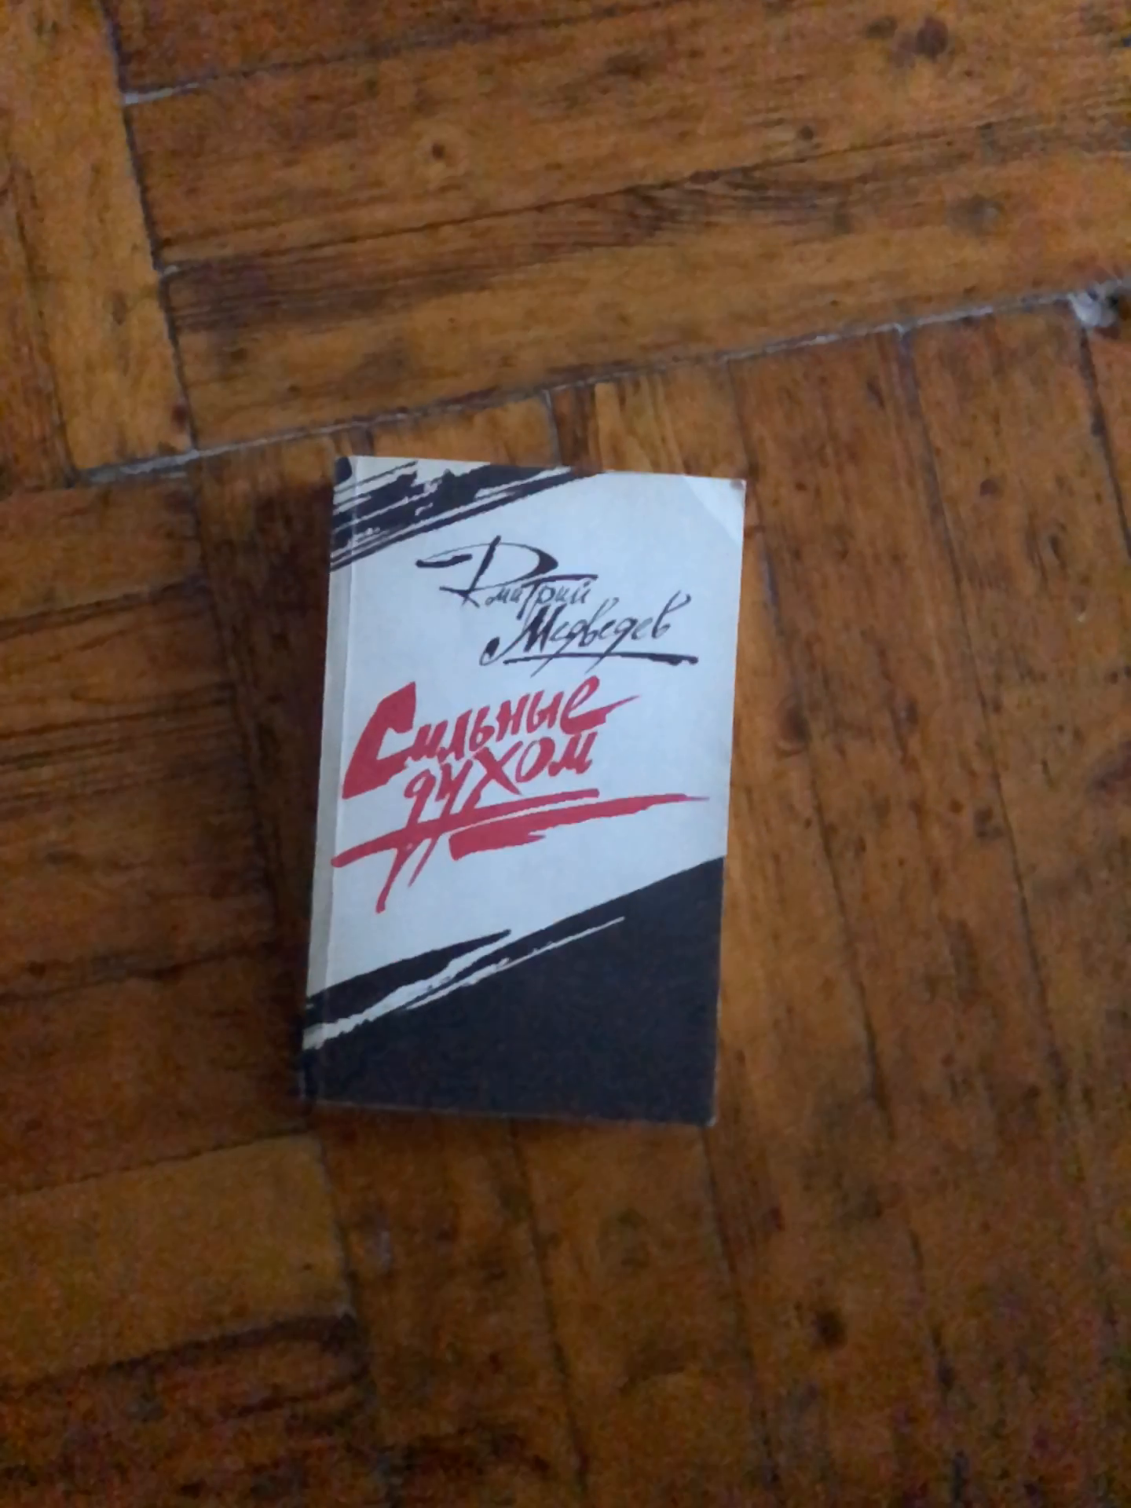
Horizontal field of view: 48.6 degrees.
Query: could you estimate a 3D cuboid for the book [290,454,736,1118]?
[{"bbox_3d":[-0.018,0.010,0.424,0.140,0.050,0.210,-1,88,-2],"label":"book"}]
